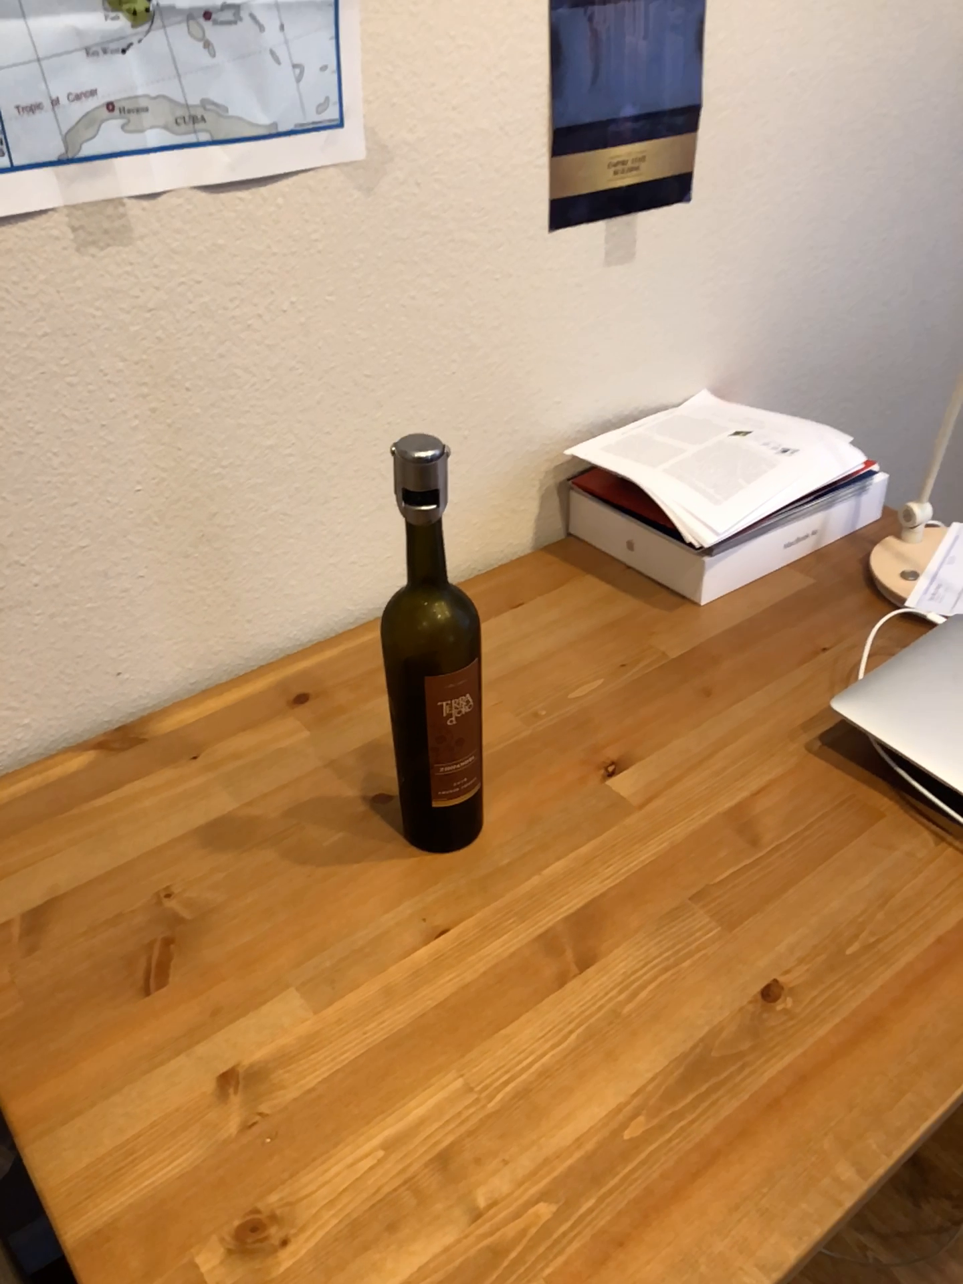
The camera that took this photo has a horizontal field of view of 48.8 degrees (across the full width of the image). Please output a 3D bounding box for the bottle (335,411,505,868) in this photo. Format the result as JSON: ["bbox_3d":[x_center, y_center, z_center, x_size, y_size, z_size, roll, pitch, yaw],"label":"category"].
[{"bbox_3d":[-0.041,0.010,0.816,0.080,0.348,0.080,-2,34,1],"label":"bottle"}]
